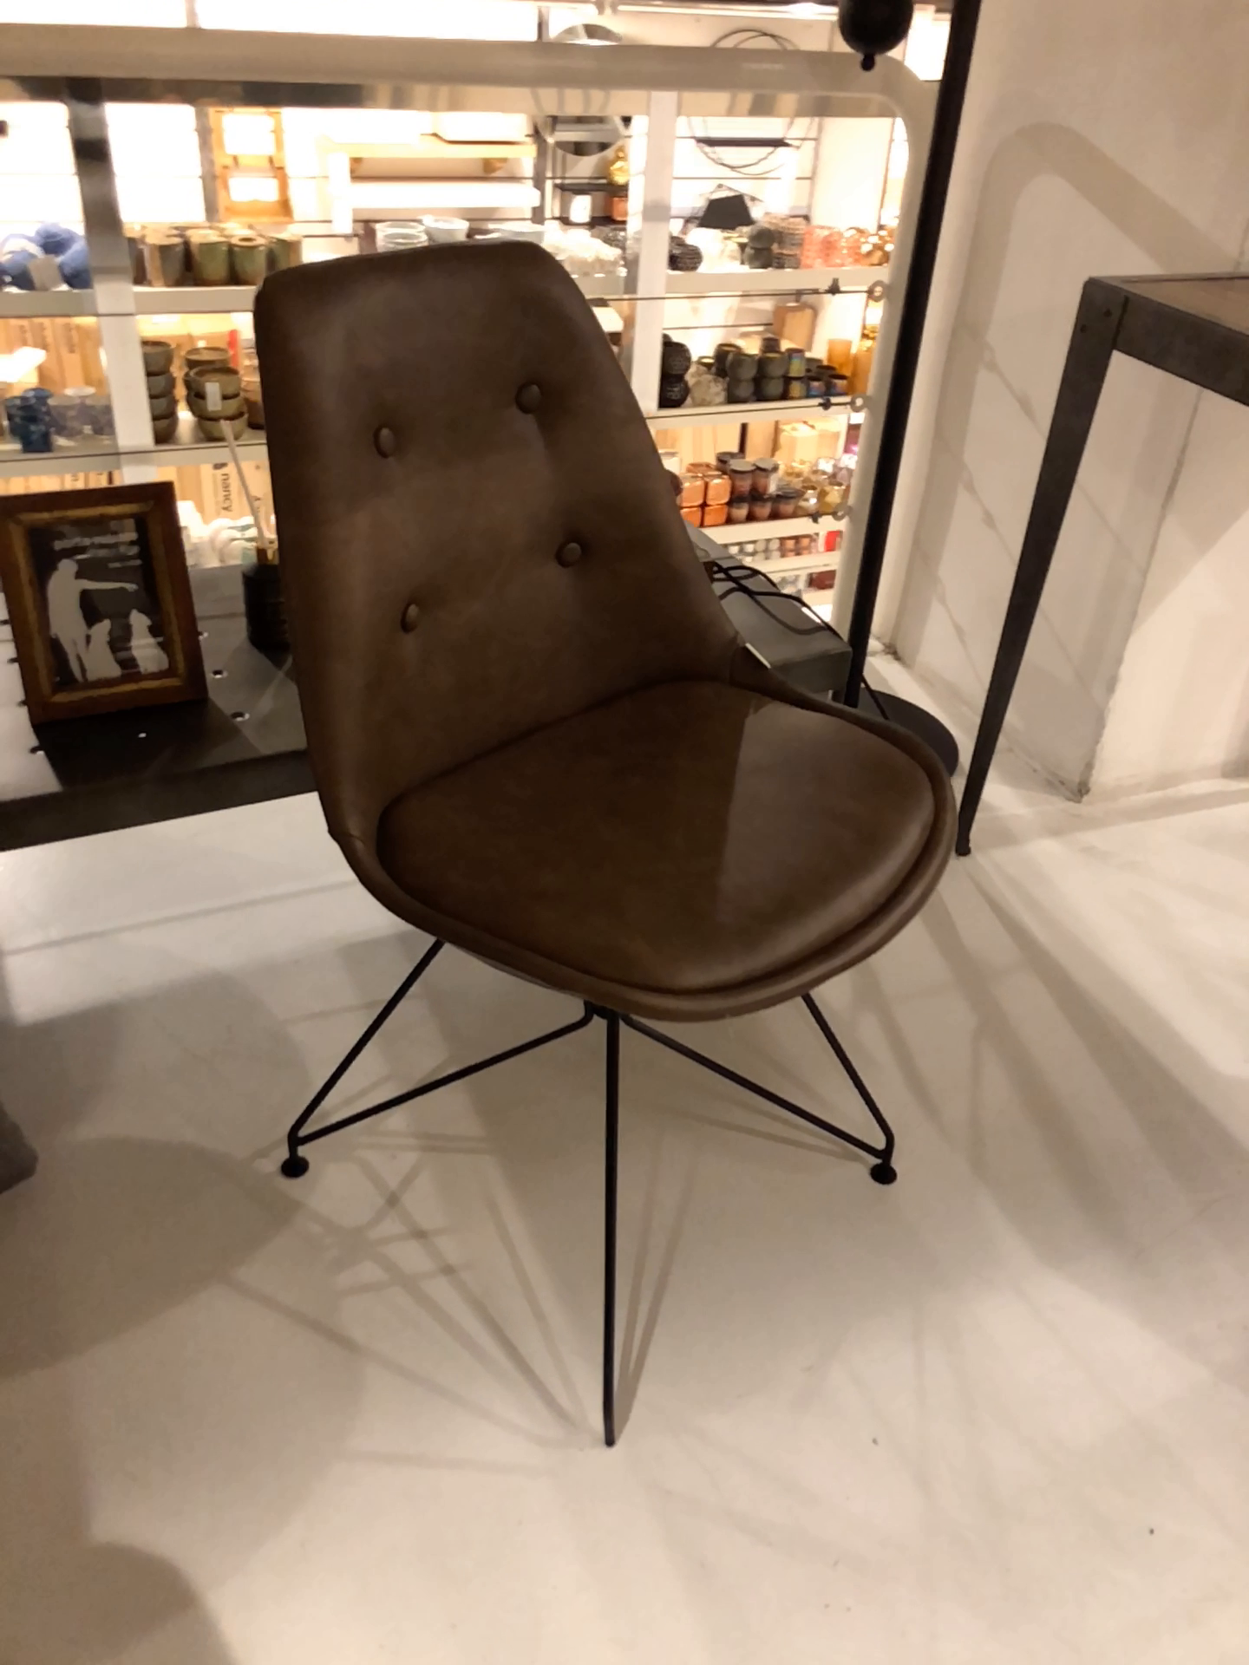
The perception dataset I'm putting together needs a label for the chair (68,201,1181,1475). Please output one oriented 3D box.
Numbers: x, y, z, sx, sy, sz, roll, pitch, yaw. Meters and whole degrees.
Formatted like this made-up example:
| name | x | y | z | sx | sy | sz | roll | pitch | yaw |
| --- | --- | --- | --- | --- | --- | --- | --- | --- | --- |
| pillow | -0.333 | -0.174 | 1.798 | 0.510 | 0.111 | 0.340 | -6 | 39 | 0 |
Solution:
| name | x | y | z | sx | sy | sz | roll | pitch | yaw |
| --- | --- | --- | --- | --- | --- | --- | --- | --- | --- |
| chair | -0.021 | -0.042 | 1.129 | 0.552 | 0.754 | 0.513 | 31 | 42 | 33 |
